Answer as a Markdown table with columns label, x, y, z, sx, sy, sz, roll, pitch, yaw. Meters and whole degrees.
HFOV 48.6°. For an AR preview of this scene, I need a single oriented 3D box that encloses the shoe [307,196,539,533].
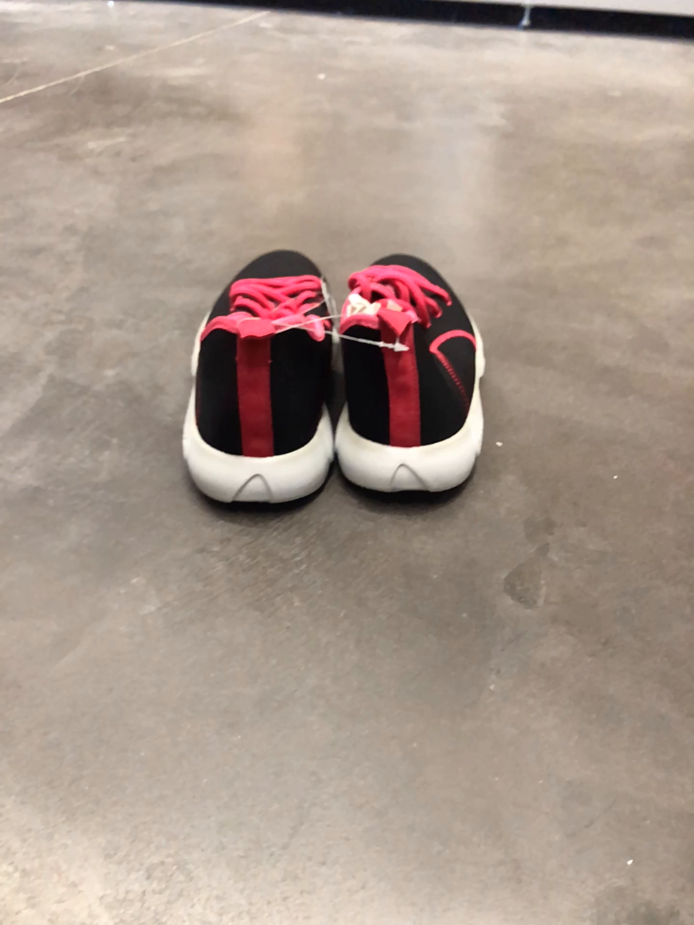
| label | x | y | z | sx | sy | sz | roll | pitch | yaw |
| --- | --- | --- | --- | --- | --- | --- | --- | --- | --- |
| shoe | 0.038 | -0.072 | 0.451 | 0.100 | 0.089 | 0.231 | 2 | 37 | 2 |

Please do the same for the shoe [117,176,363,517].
| label | x | y | z | sx | sy | sz | roll | pitch | yaw |
| --- | --- | --- | --- | --- | --- | --- | --- | --- | --- |
| shoe | -0.050 | -0.080 | 0.435 | 0.100 | 0.089 | 0.231 | -1 | 37 | -3 |
